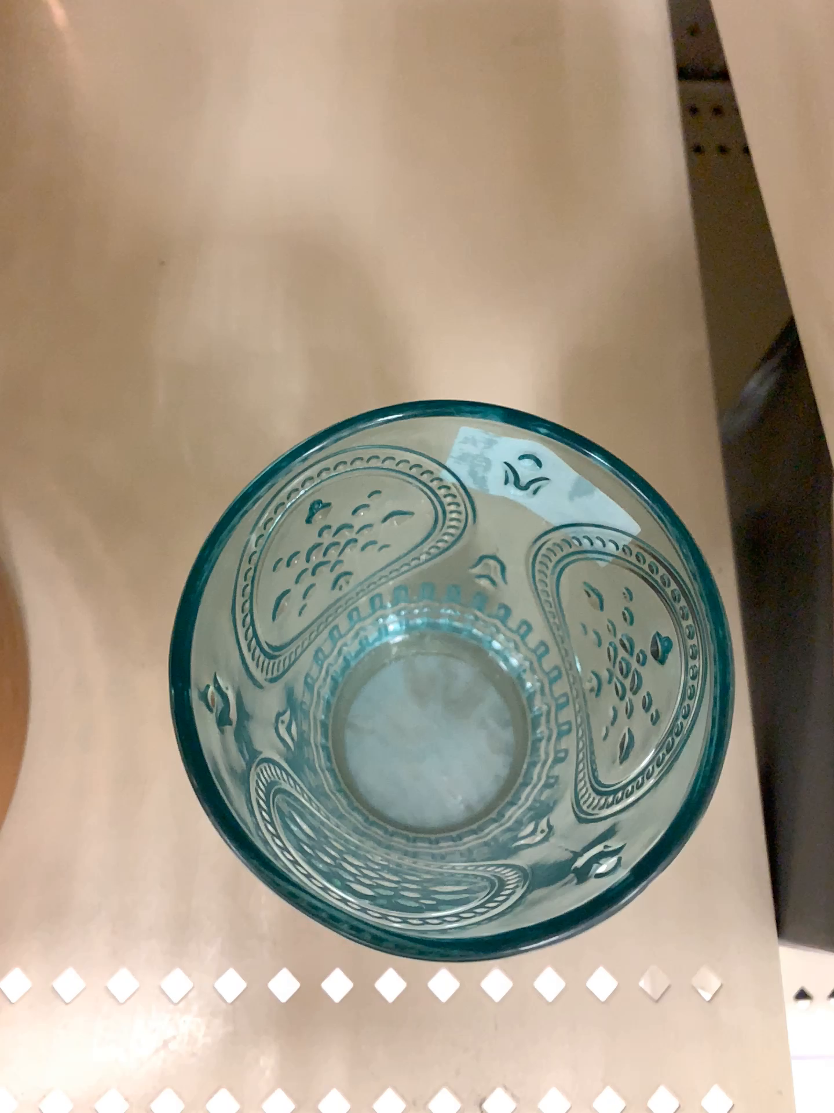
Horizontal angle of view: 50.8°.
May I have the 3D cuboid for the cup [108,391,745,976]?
[{"bbox_3d":[0.002,0.027,0.162,0.078,0.091,0.076,0,73,-1],"label":"cup"}]
